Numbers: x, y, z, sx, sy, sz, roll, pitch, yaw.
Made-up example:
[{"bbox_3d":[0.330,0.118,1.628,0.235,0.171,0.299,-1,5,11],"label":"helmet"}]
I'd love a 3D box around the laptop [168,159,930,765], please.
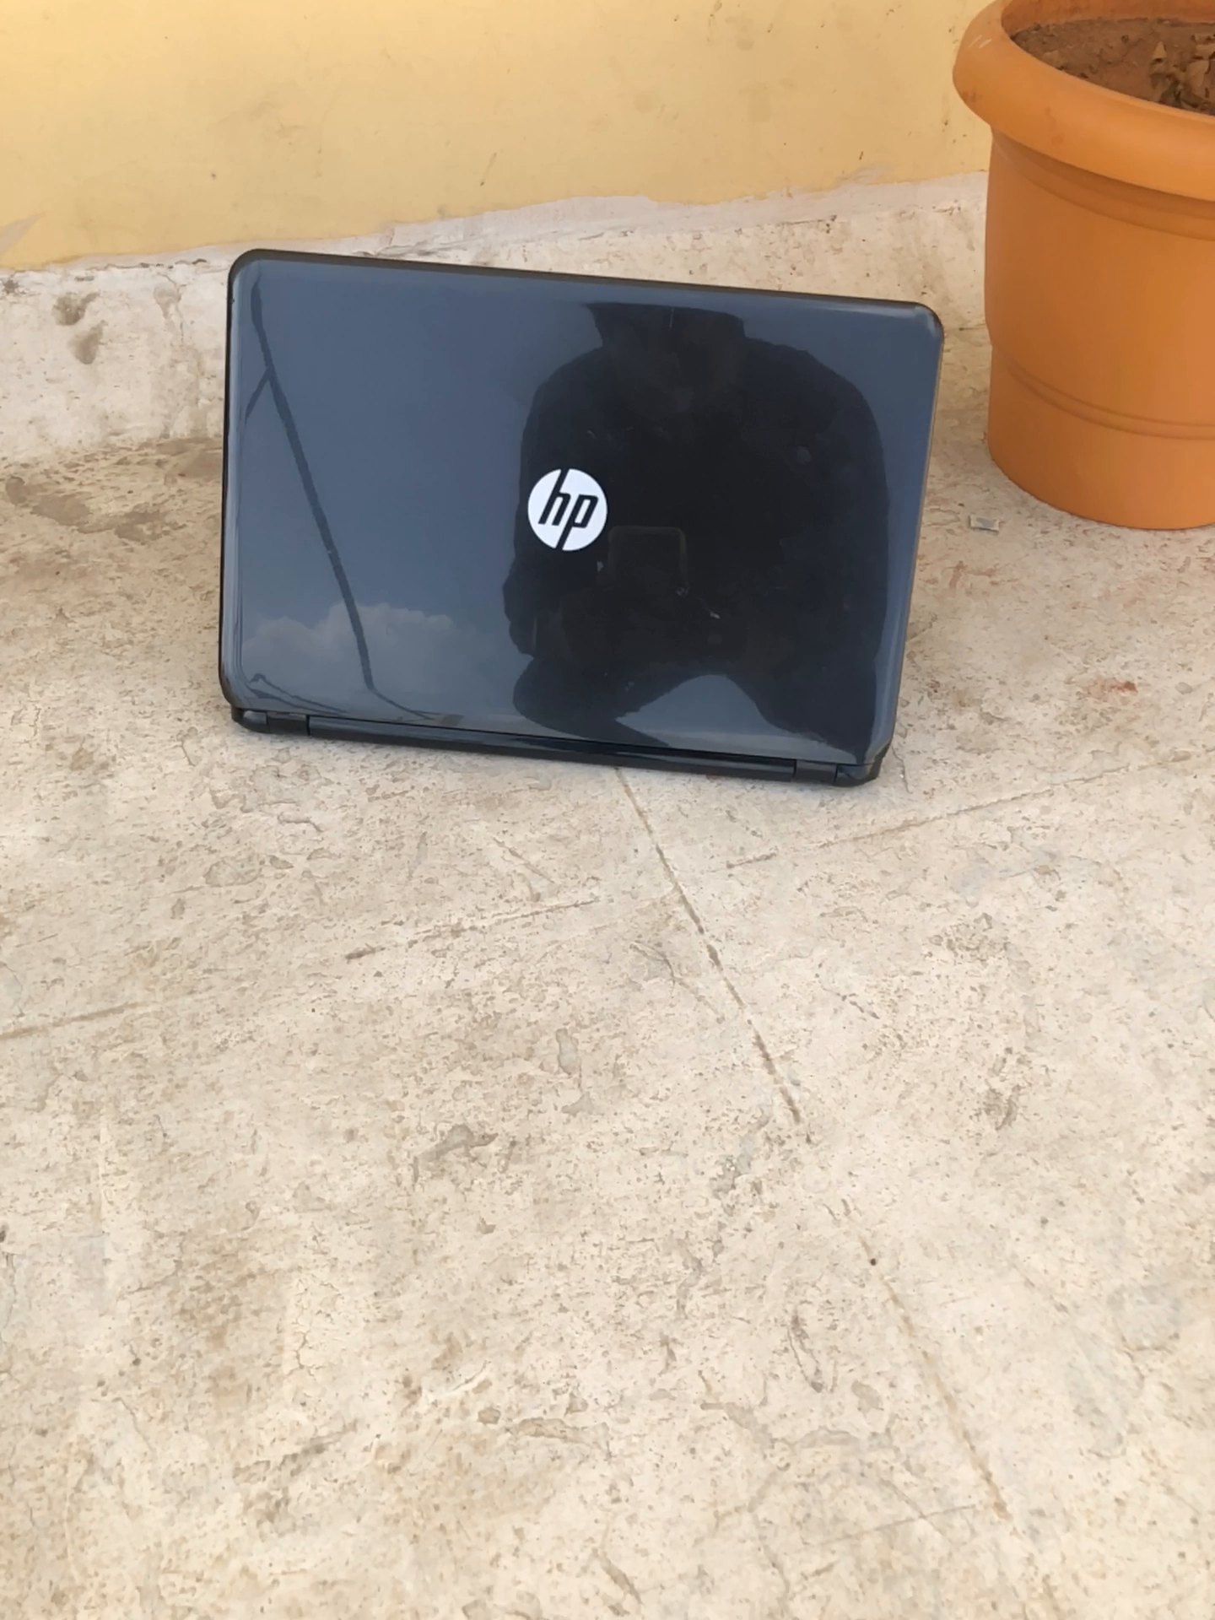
[{"bbox_3d":[-0.018,-0.194,0.735,0.344,0.189,0.223,5,48,2],"label":"laptop"}]
